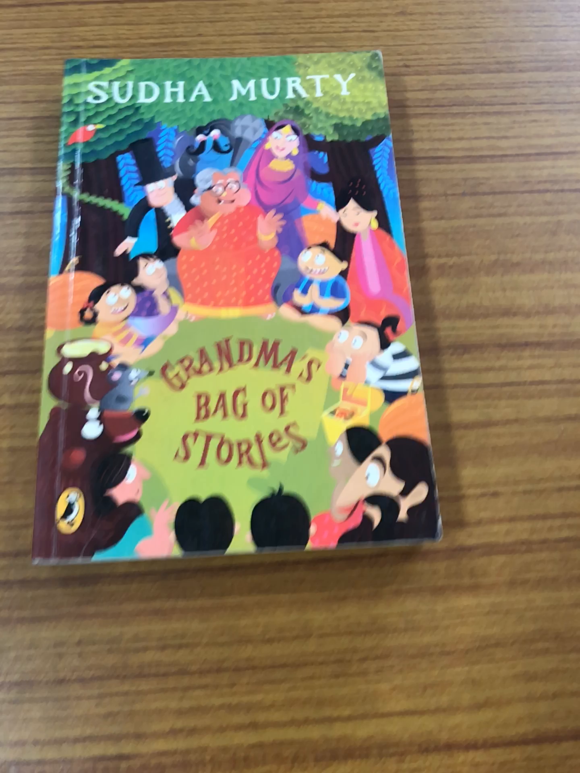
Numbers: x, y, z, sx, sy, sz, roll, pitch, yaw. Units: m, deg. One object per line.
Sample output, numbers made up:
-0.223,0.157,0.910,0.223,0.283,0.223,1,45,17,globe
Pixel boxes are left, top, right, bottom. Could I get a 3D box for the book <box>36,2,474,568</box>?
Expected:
-0.016,-0.046,0.240,0.130,0.030,0.210,-3,72,-2,book
